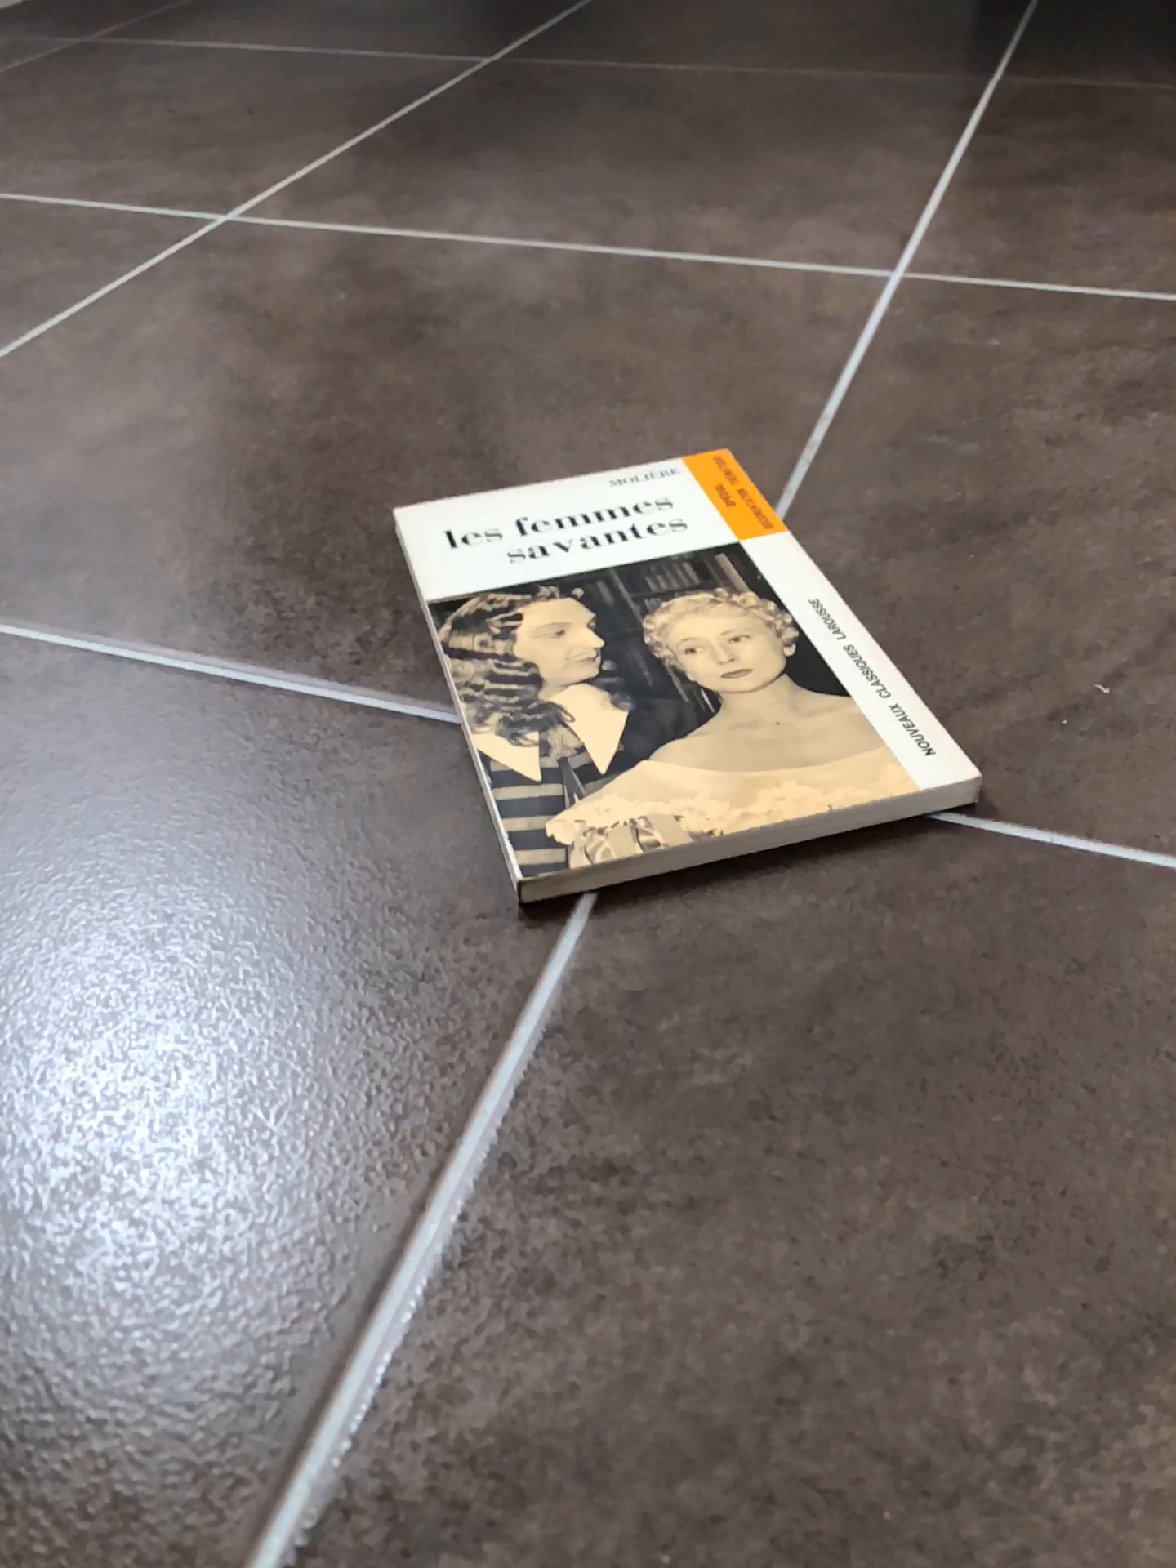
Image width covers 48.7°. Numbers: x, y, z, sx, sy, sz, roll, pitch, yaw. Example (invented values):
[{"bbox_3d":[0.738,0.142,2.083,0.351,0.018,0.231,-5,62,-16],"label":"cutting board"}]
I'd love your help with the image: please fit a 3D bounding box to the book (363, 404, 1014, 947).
[{"bbox_3d":[0.014,-0.042,0.344,0.120,0.020,0.171,-12,46,-10],"label":"book"}]
